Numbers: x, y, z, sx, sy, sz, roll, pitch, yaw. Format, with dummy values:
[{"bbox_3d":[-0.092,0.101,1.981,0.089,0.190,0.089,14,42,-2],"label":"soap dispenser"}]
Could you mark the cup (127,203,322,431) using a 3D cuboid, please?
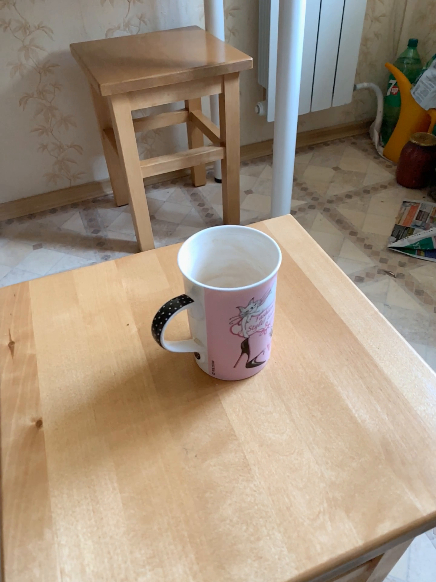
[{"bbox_3d":[0.008,0.016,0.337,0.075,0.107,0.114,32,53,32],"label":"cup"}]
